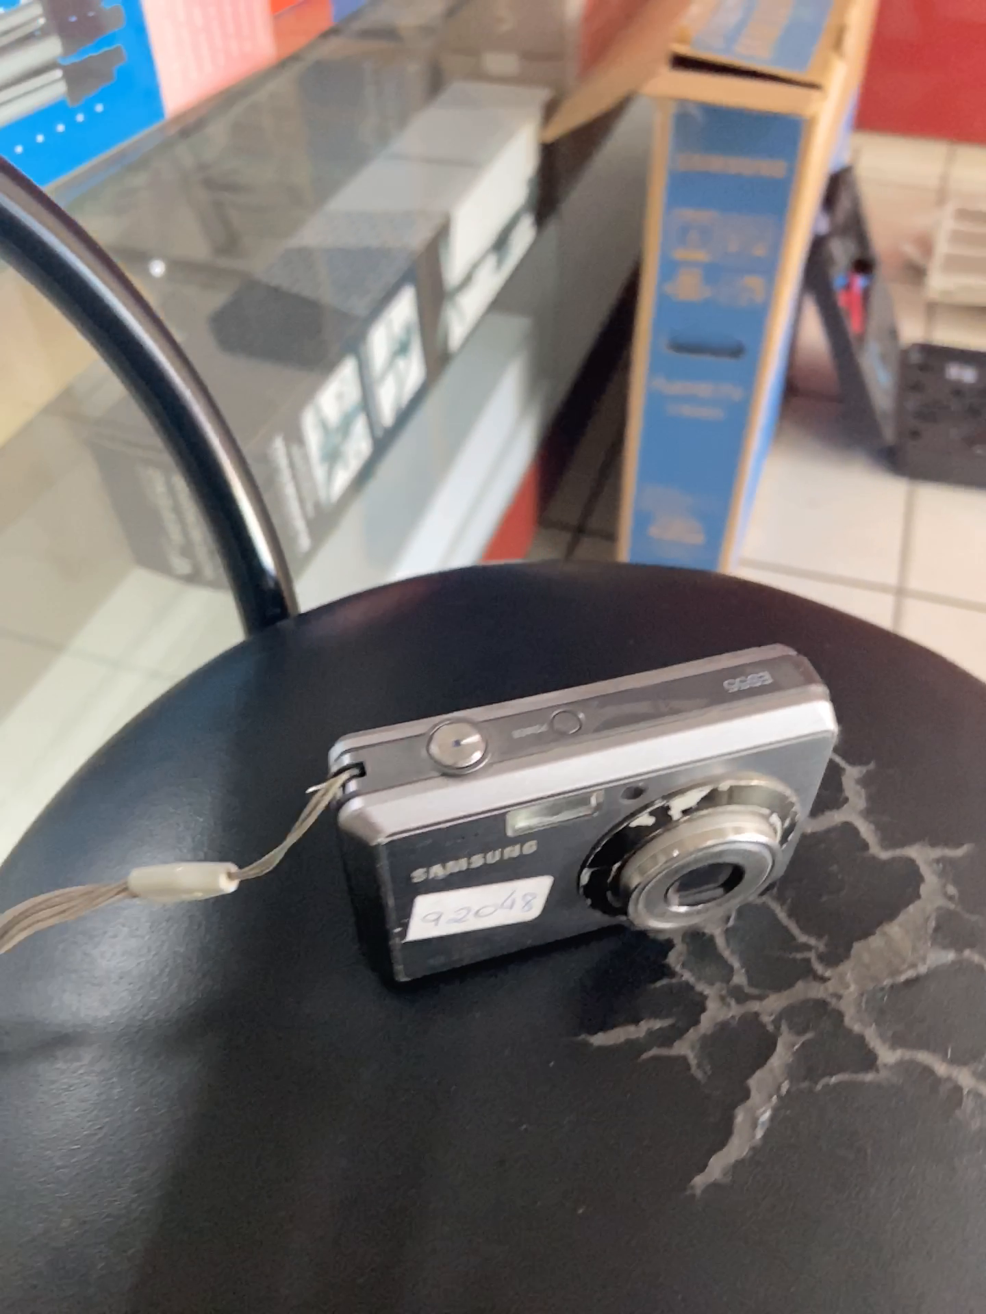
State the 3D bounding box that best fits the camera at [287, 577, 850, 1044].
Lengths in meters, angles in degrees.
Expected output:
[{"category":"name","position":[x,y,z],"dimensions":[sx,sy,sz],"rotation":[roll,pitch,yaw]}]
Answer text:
[{"category":"camera","position":[0.012,0.031,0.206],"dimensions":[0.090,0.070,0.040],"rotation":[-12,47,-9]}]
